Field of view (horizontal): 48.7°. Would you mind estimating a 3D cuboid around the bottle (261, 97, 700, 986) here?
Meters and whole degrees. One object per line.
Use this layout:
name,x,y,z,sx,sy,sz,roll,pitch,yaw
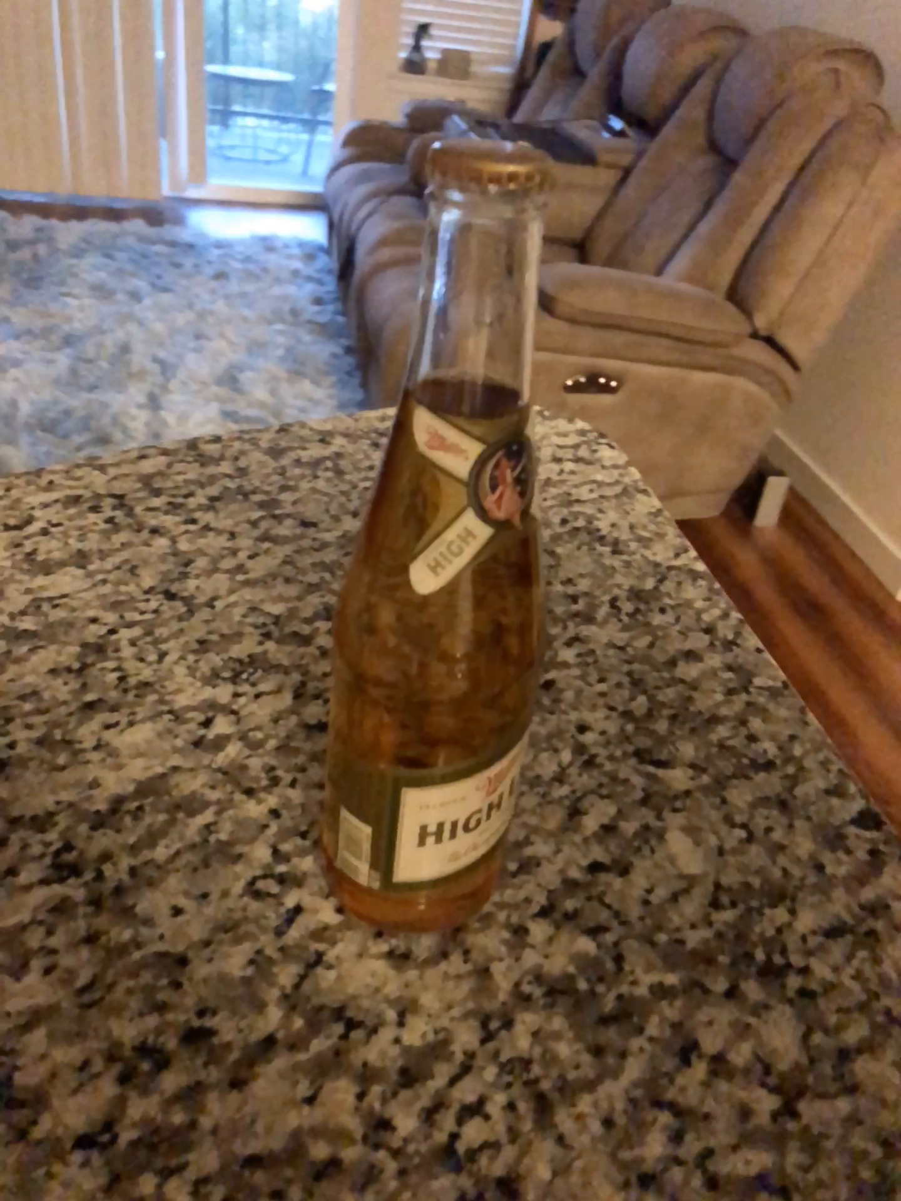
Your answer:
bottle,-0.004,-0.005,0.274,0.070,0.229,0.060,27,38,26
